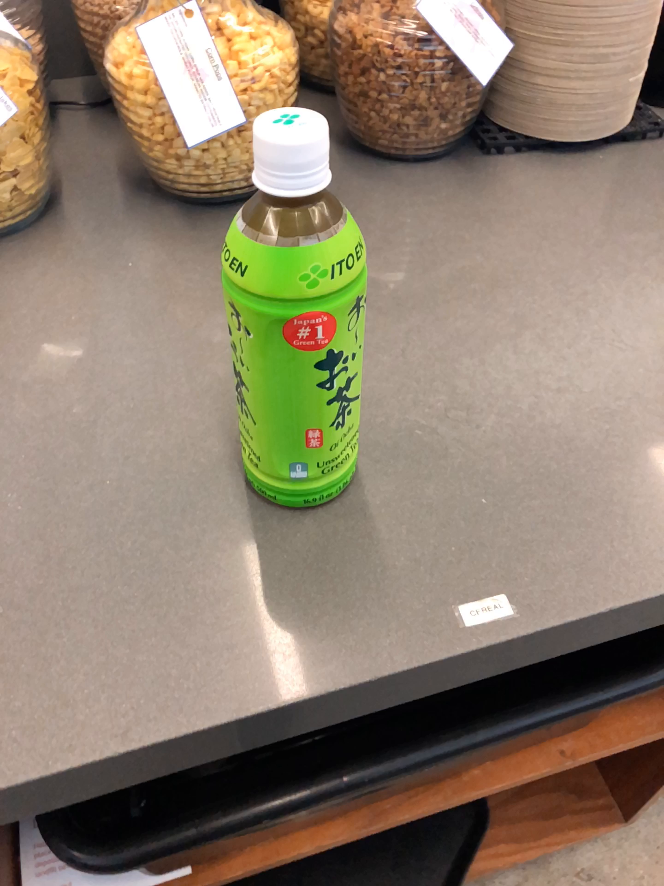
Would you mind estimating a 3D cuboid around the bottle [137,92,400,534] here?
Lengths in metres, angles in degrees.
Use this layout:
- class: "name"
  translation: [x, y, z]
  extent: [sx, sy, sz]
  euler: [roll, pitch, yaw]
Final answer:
- class: "bottle"
  translation: [-0.022, -0.053, 0.359]
  extent: [0.080, 0.189, 0.080]
  euler: [0, 47, 0]
